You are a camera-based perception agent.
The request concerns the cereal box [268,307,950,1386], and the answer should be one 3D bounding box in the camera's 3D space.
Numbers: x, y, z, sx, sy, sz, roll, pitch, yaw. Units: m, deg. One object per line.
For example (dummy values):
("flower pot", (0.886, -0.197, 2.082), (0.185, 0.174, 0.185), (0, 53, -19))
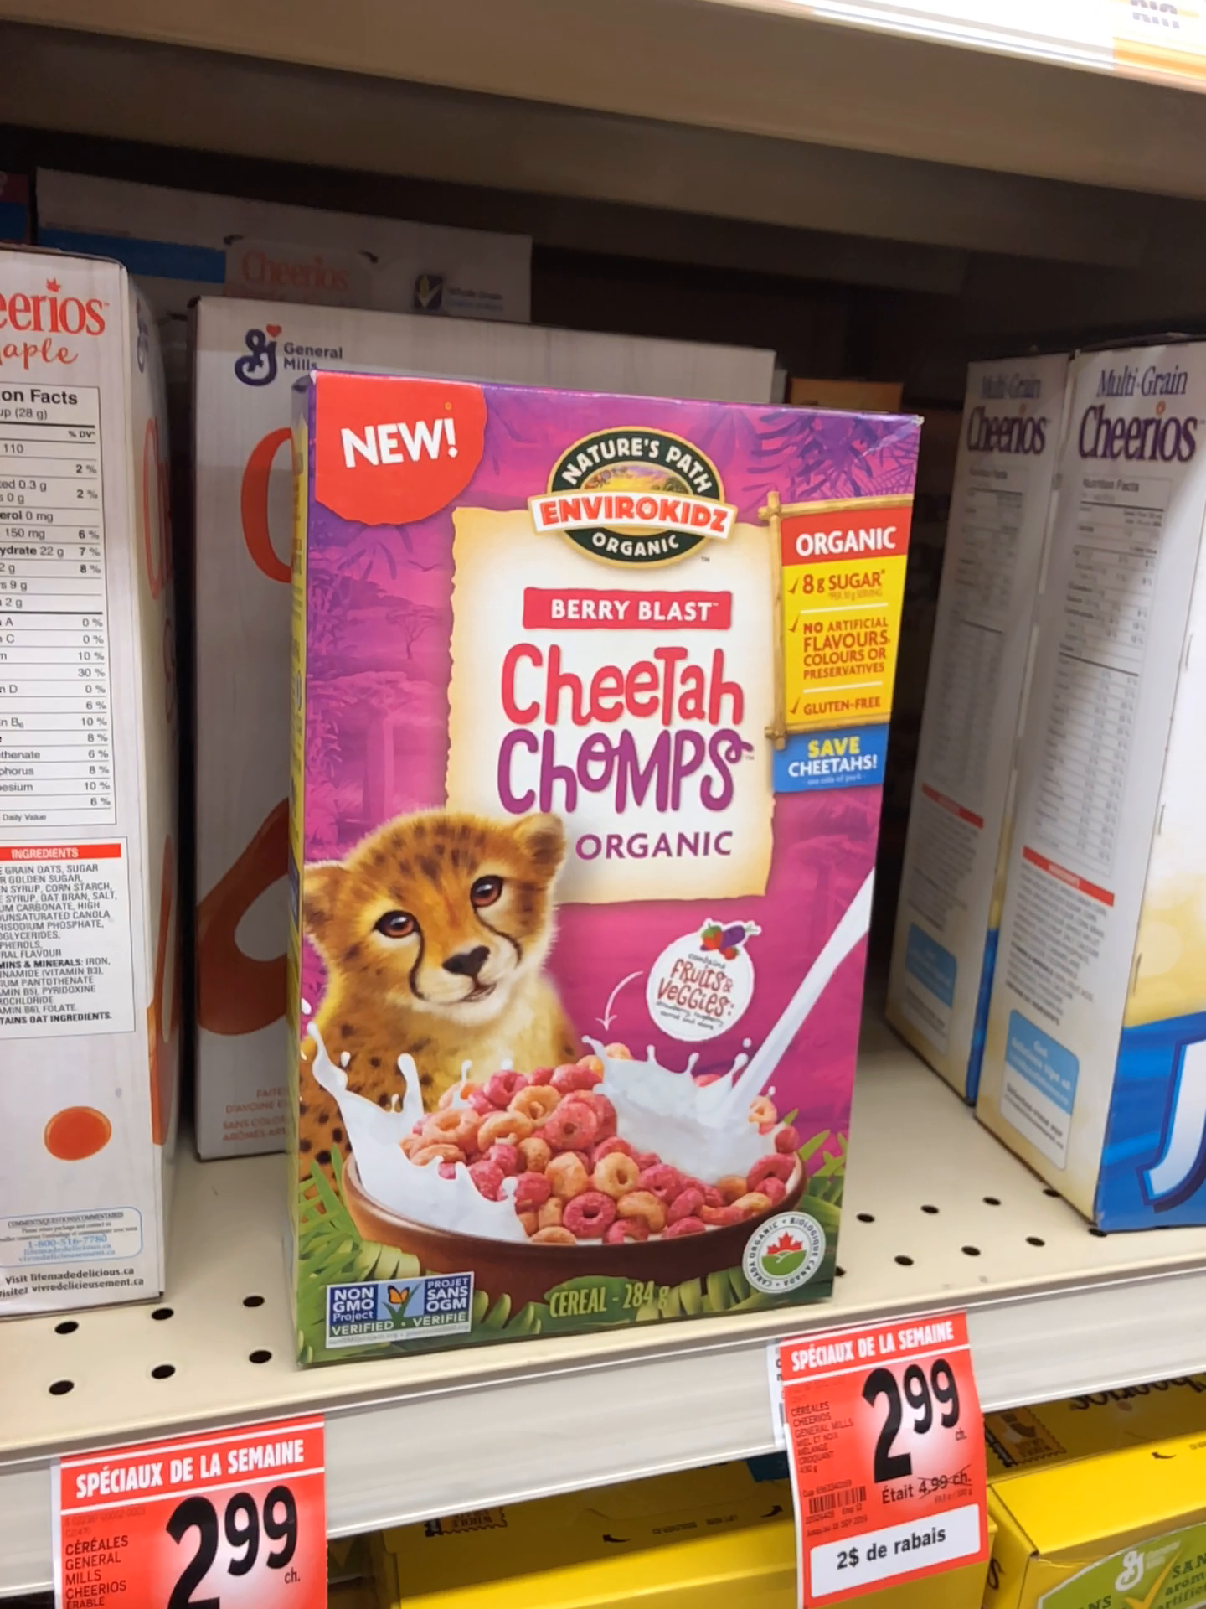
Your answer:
("cereal box", (-0.008, 0.012, 0.367), (0.160, 0.259, 0.070), (0, 12, -16))
